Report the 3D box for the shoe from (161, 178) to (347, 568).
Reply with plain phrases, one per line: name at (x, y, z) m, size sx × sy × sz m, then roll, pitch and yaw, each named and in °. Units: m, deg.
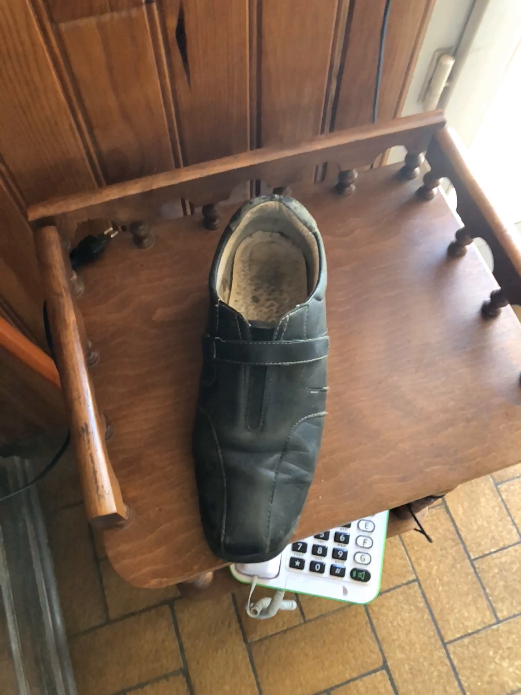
shoe at (0.004, 0.016, 0.405) m, size 0.100 × 0.100 × 0.251 m, roll 4°, pitch 65°, yaw 0°
